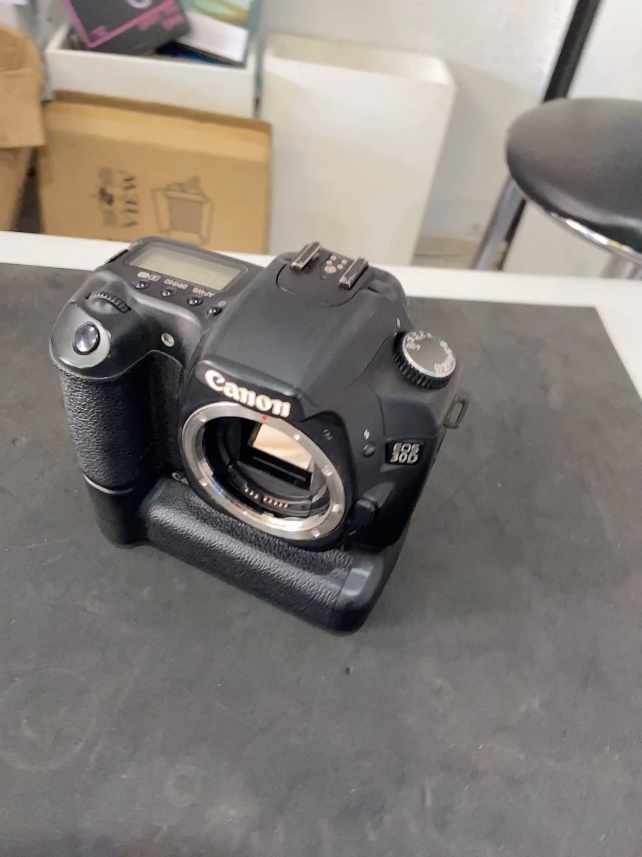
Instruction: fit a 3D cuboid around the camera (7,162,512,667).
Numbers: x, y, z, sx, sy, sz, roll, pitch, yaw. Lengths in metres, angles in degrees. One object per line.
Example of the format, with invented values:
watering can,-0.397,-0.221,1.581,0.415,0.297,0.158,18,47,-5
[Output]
camera,-0.023,-0.003,0.263,0.140,0.139,0.080,22,47,13
